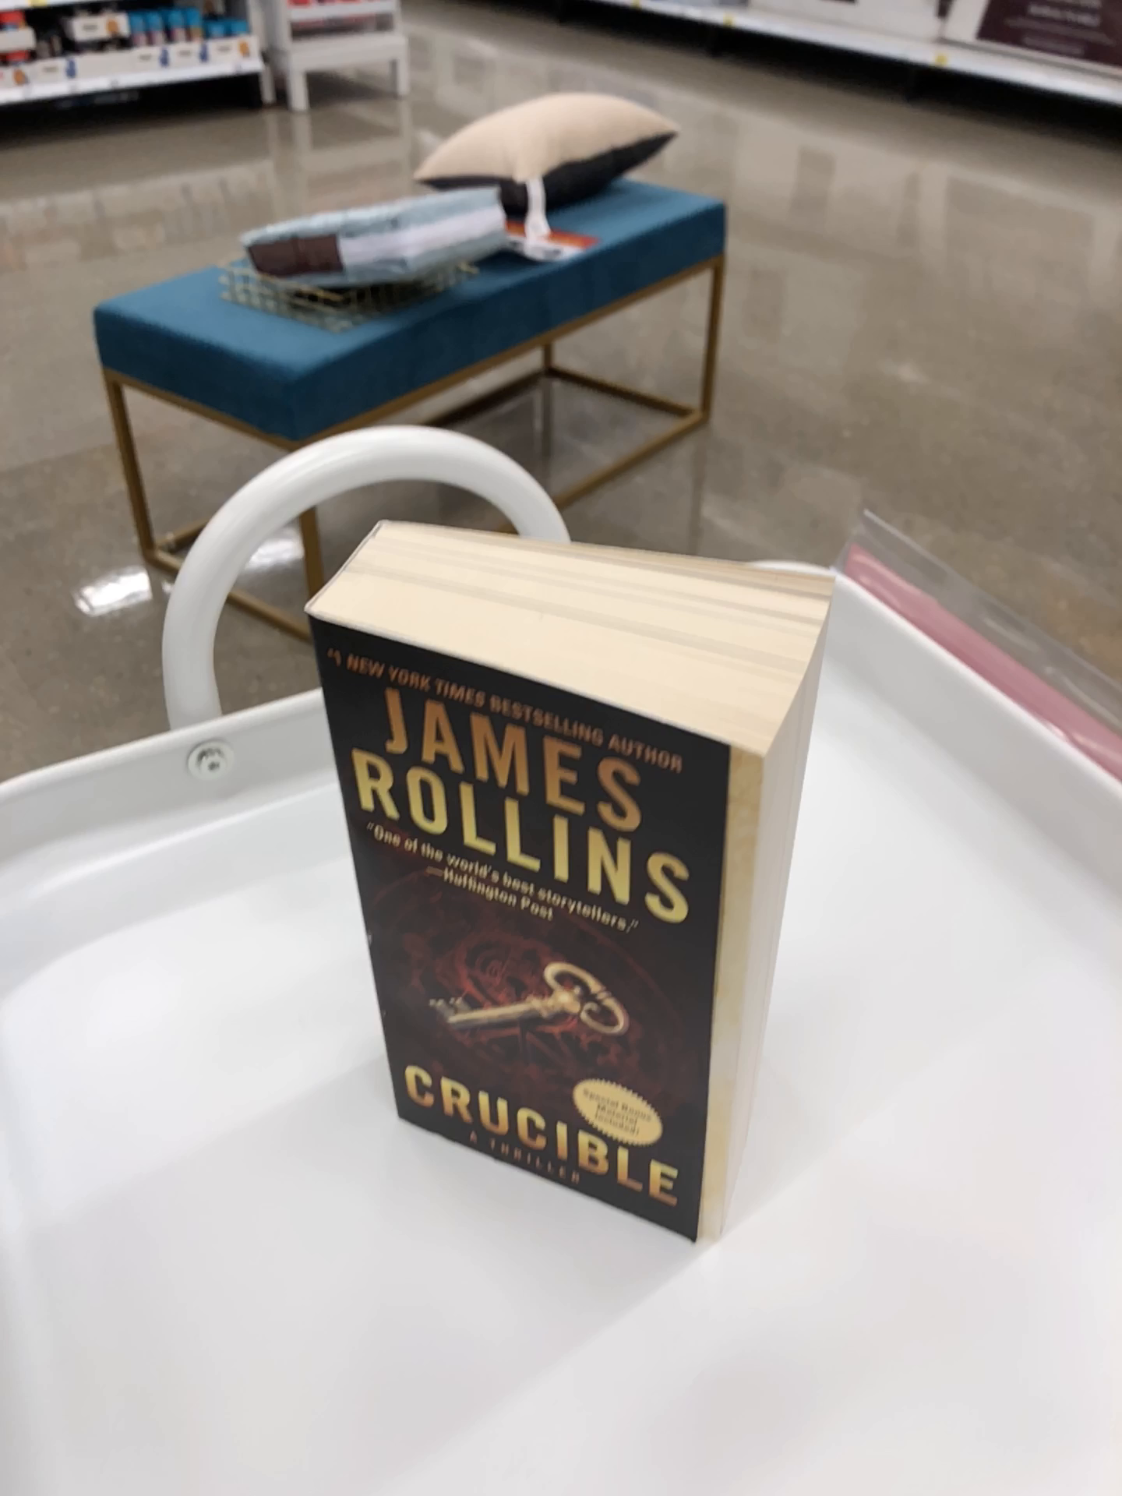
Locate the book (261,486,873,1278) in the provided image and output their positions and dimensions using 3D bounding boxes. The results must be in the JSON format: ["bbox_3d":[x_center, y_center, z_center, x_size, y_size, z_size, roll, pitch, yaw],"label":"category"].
[{"bbox_3d":[0.003,0.041,0.321,0.112,0.184,0.066,14,42,17],"label":"book"}]
